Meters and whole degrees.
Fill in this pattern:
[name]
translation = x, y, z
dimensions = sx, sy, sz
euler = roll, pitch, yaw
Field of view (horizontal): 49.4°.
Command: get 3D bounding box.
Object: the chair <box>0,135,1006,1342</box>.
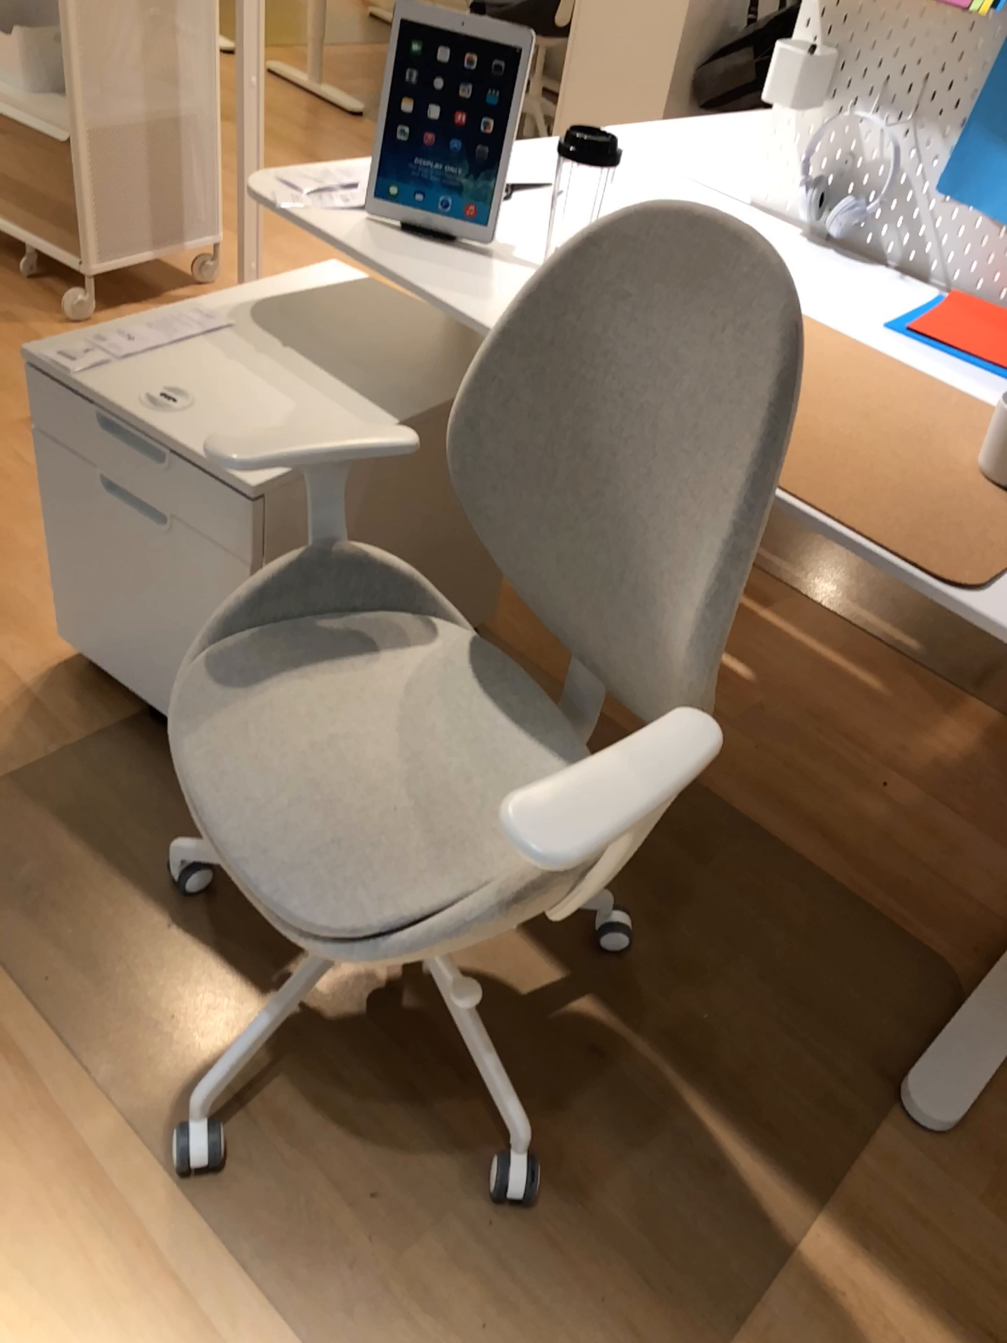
[chair]
translation = -0.046, 0.041, 1.129
dimensions = 0.701, 0.914, 0.653
euler = -17, 47, -30
